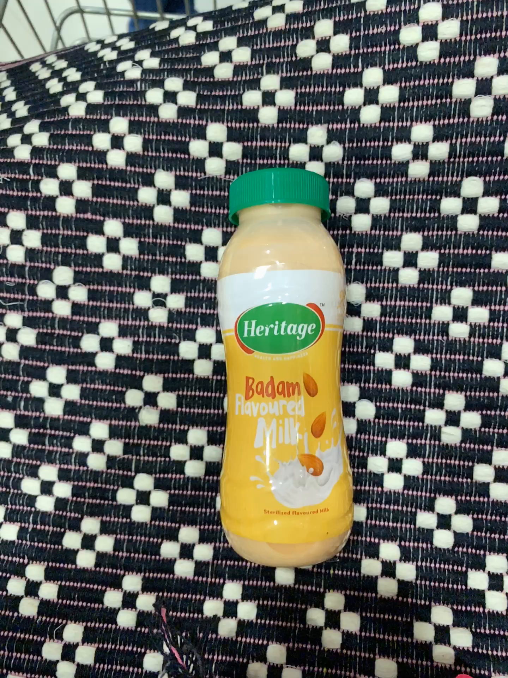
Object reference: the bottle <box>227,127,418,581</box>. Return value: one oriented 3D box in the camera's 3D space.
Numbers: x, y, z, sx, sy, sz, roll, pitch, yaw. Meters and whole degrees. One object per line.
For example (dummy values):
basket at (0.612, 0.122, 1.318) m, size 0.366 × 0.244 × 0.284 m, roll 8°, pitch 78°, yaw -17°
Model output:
bottle at (0.022, 0.004, 0.194) m, size 0.060 × 0.040 × 0.150 m, roll 0°, pitch 84°, yaw 0°
